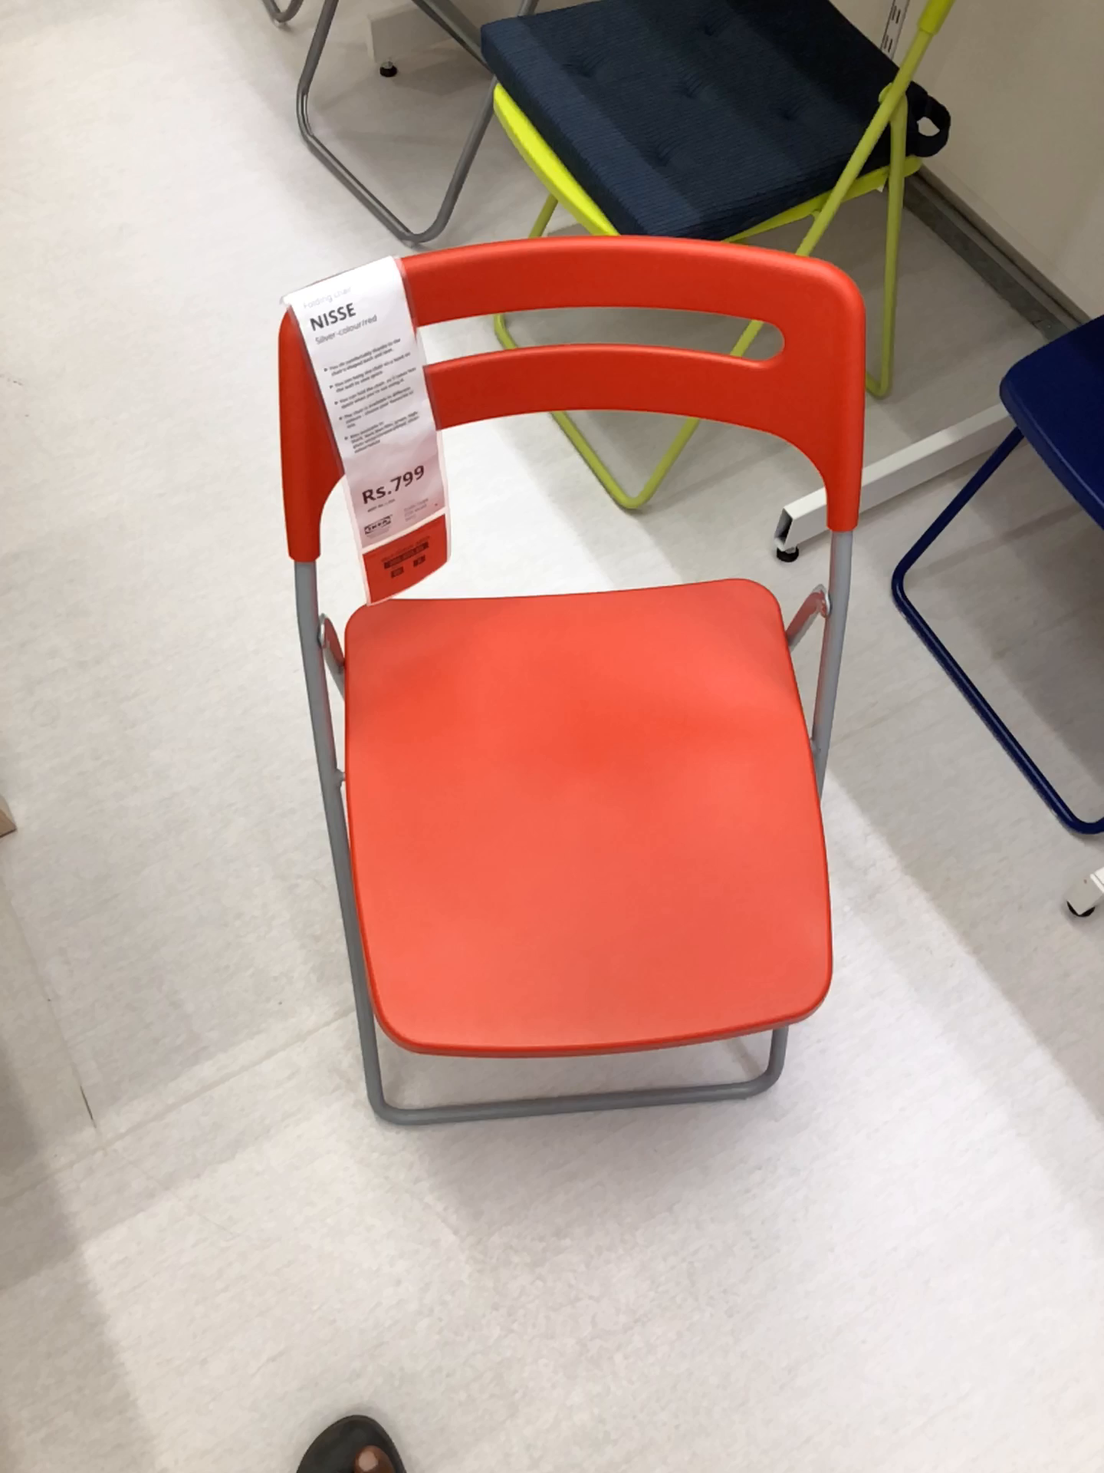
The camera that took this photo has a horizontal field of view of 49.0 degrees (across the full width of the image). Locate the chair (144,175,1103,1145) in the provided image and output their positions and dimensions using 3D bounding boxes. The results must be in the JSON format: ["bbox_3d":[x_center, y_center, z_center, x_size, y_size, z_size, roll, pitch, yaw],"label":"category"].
[{"bbox_3d":[0.019,0.013,0.930,0.440,0.677,0.422,-4,61,-4],"label":"chair"}]
